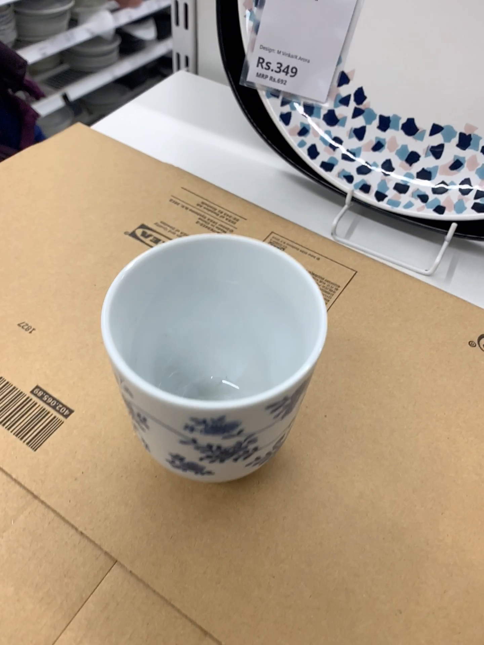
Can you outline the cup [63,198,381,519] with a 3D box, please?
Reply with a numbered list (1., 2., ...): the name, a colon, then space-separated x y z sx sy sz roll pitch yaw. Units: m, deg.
1. cup: -0.007 0.015 0.183 0.080 0.080 0.080 3 49 -4
